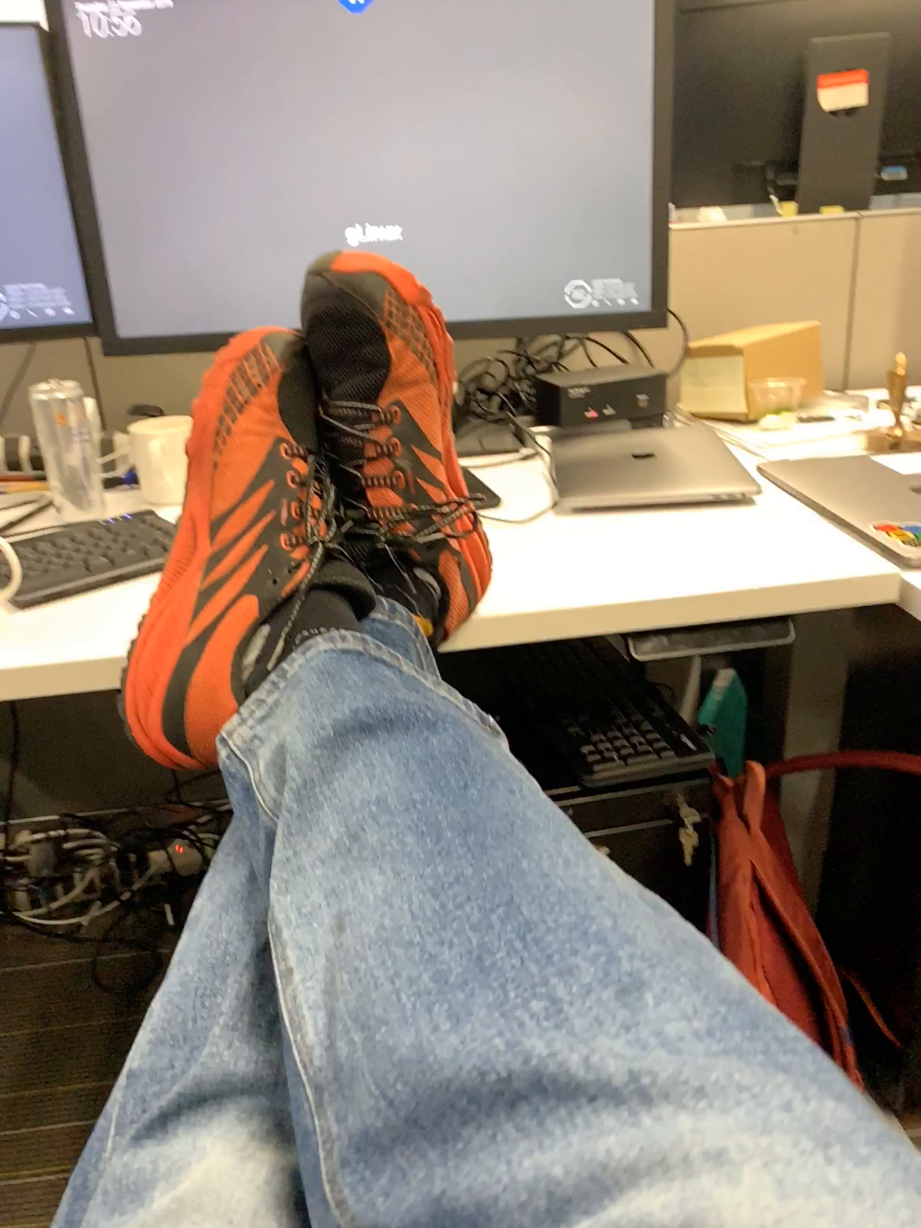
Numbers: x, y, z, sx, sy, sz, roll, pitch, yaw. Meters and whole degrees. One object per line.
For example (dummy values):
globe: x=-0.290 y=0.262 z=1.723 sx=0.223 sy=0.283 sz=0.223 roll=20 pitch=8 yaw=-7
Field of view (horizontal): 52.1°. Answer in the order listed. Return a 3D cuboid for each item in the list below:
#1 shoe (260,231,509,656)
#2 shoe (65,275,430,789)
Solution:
shoe: x=-0.045 y=-0.114 z=0.662 sx=0.107 sy=0.271 sz=0.083 roll=4 pitch=26 yaw=25
shoe: x=-0.126 y=-0.051 z=0.586 sx=0.133 sy=0.289 sz=0.091 roll=7 pitch=-10 yaw=27
